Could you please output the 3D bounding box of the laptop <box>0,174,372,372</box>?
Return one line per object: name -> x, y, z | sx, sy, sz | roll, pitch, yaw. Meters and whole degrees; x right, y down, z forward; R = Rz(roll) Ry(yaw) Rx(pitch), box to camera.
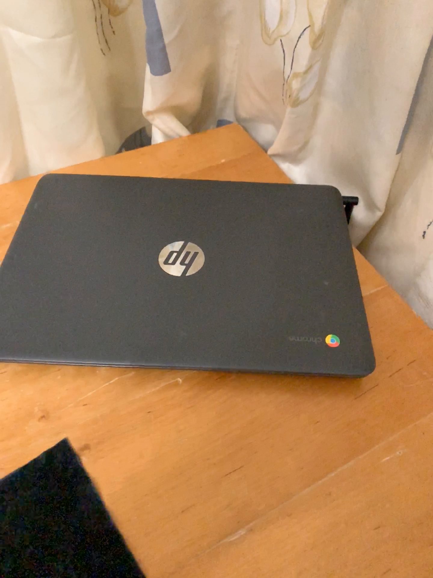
laptop -> -0.029, -0.025, 0.342 | 0.261, 0.004, 0.186 | 2, 51, 1
